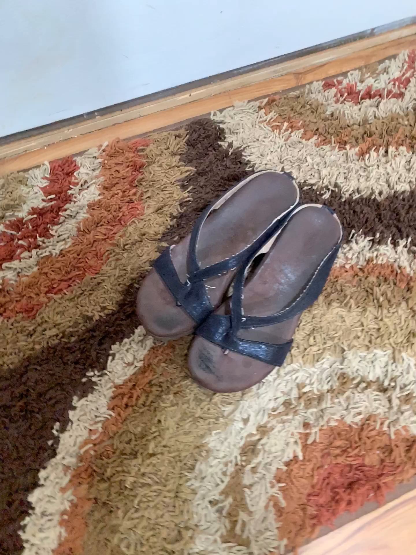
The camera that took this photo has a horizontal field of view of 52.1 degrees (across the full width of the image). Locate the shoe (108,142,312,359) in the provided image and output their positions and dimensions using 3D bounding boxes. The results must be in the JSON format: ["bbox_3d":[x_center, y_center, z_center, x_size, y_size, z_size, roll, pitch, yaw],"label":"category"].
[{"bbox_3d":[0.008,-0.033,0.448,0.084,0.052,0.224,36,71,13],"label":"shoe"}]

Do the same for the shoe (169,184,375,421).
[{"bbox_3d":[0.067,0.021,0.433,0.090,0.062,0.223,34,71,12],"label":"shoe"}]
